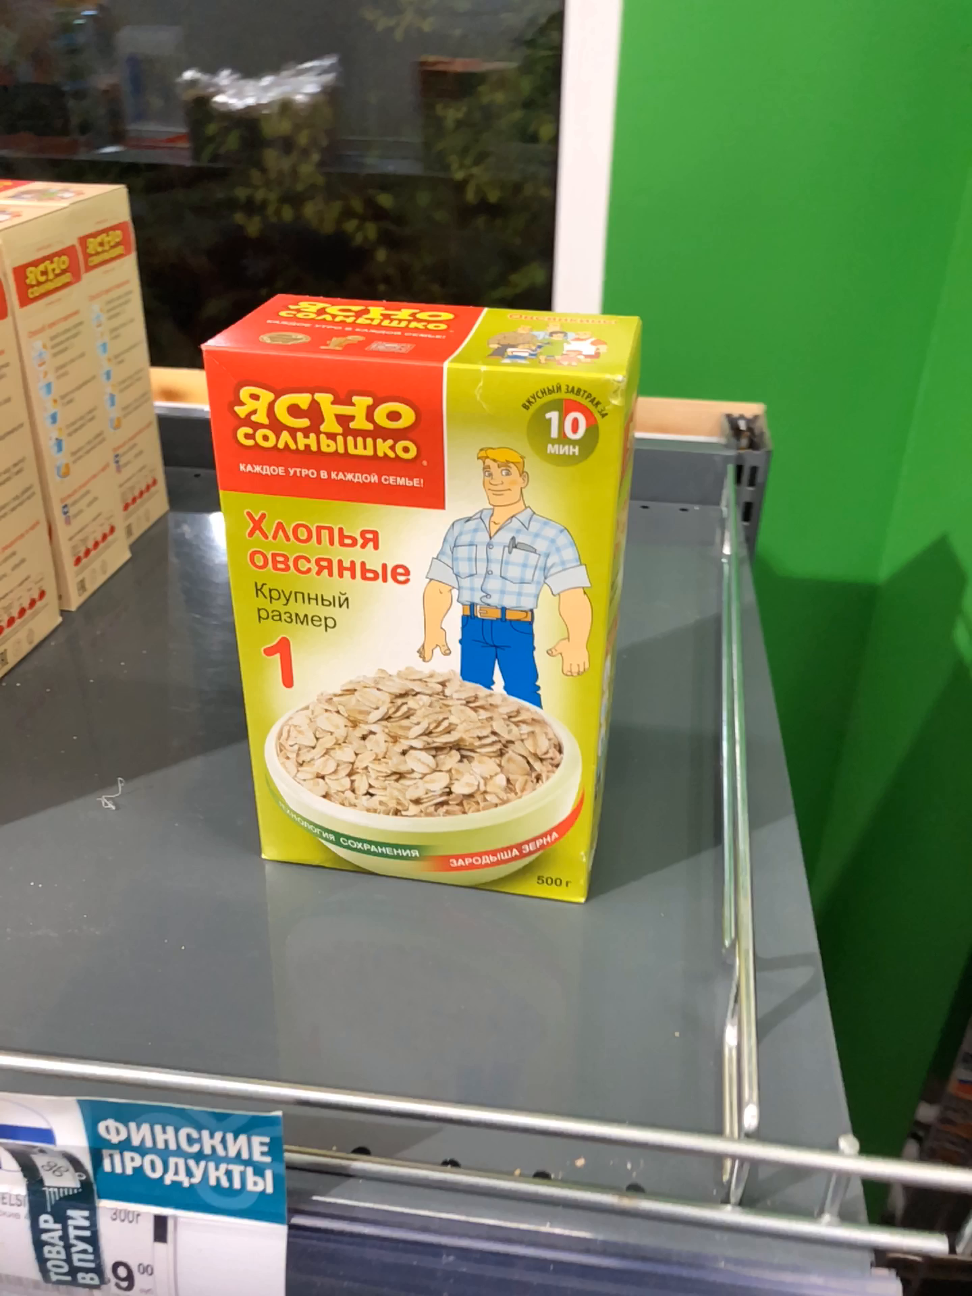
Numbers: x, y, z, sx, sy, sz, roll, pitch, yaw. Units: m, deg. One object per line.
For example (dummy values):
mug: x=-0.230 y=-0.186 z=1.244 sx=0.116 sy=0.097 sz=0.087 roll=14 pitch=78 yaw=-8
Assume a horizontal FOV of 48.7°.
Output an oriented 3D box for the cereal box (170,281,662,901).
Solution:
cereal box: x=-0.017 y=-0.019 z=0.361 sx=0.130 sy=0.179 sz=0.080 roll=6 pitch=30 yaw=8
